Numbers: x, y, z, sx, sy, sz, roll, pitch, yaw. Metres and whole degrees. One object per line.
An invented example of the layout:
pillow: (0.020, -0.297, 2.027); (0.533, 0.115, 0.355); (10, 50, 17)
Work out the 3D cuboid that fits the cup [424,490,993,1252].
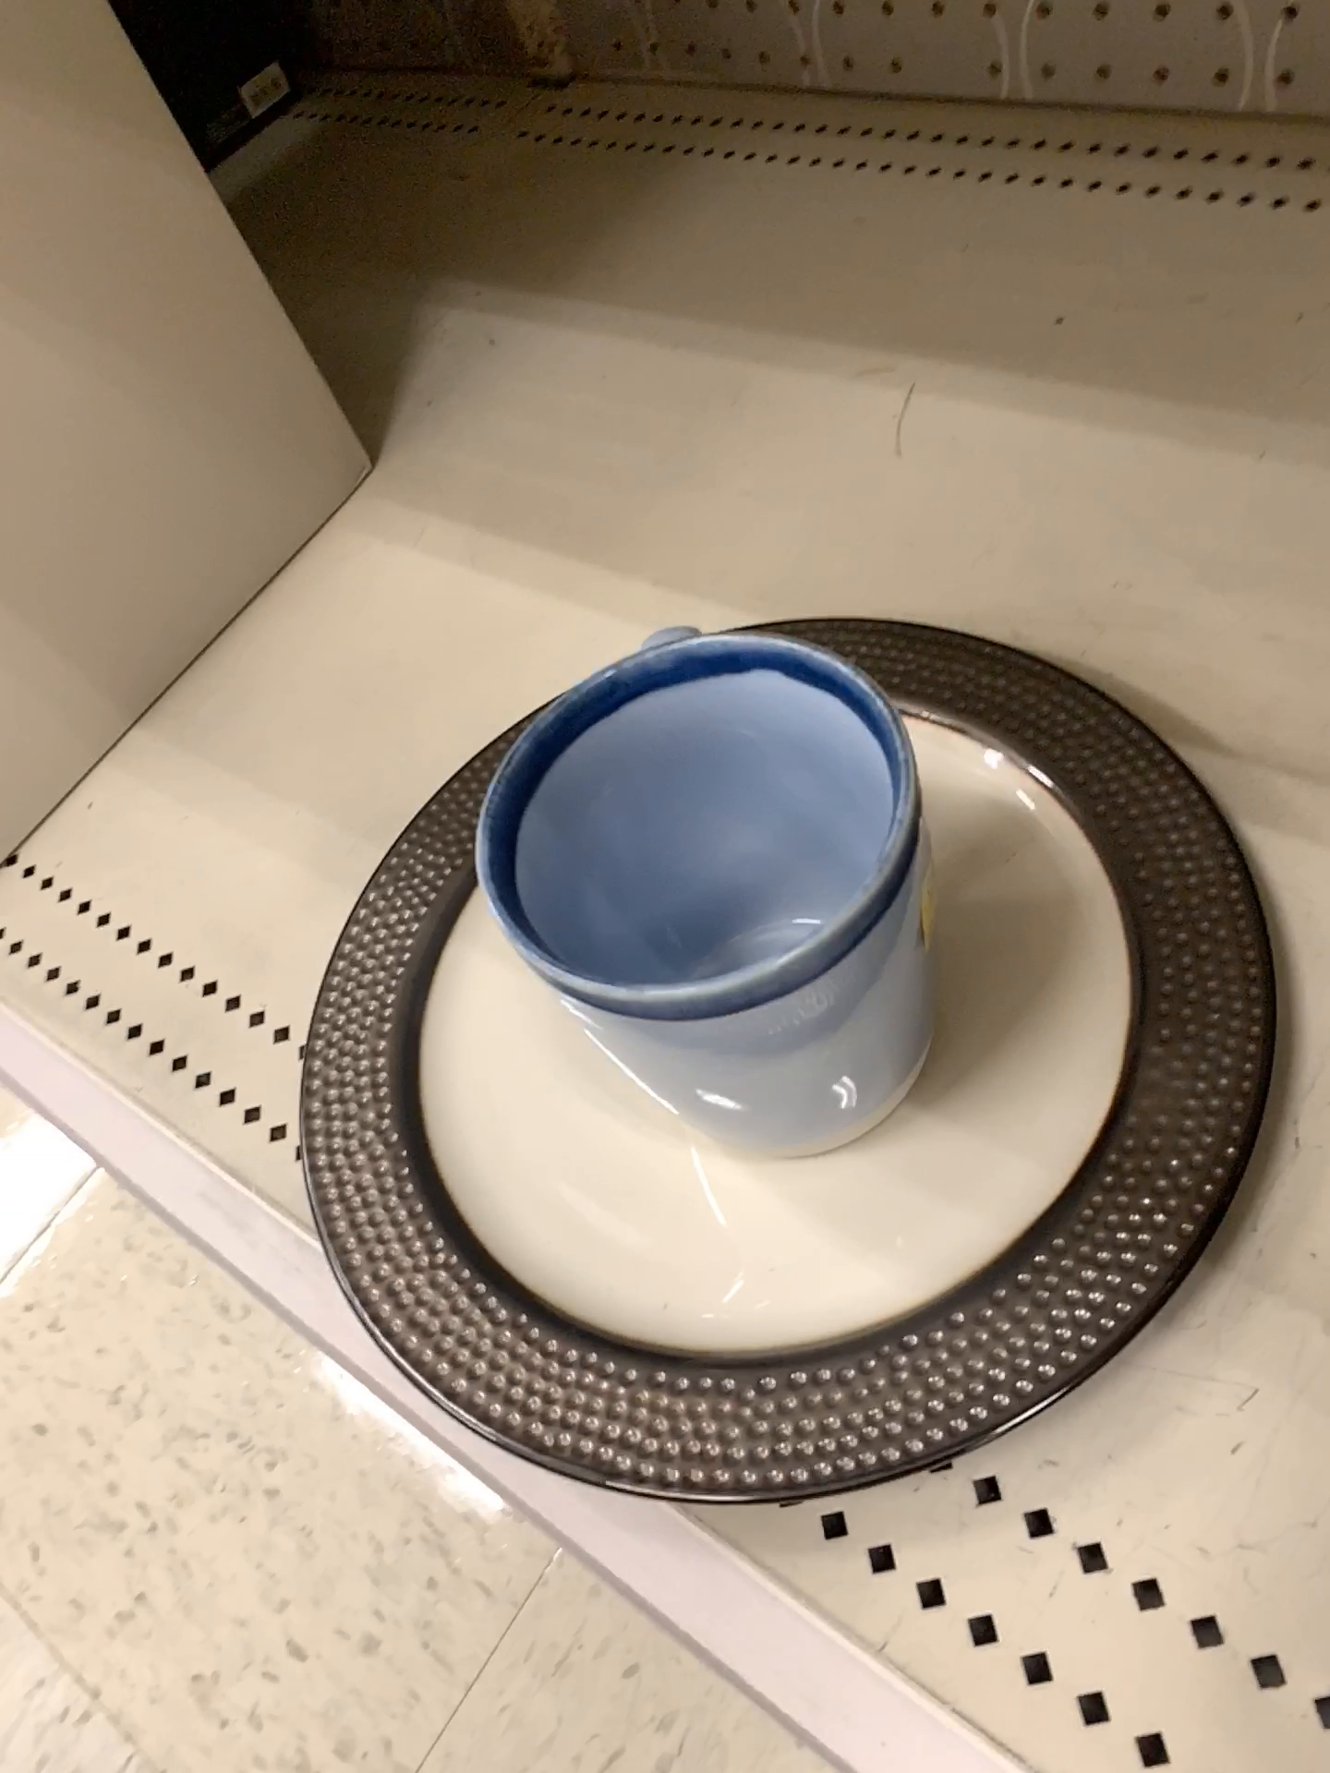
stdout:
cup: (0.008, -0.002, 0.321); (0.093, 0.094, 0.128); (-17, 52, 11)
